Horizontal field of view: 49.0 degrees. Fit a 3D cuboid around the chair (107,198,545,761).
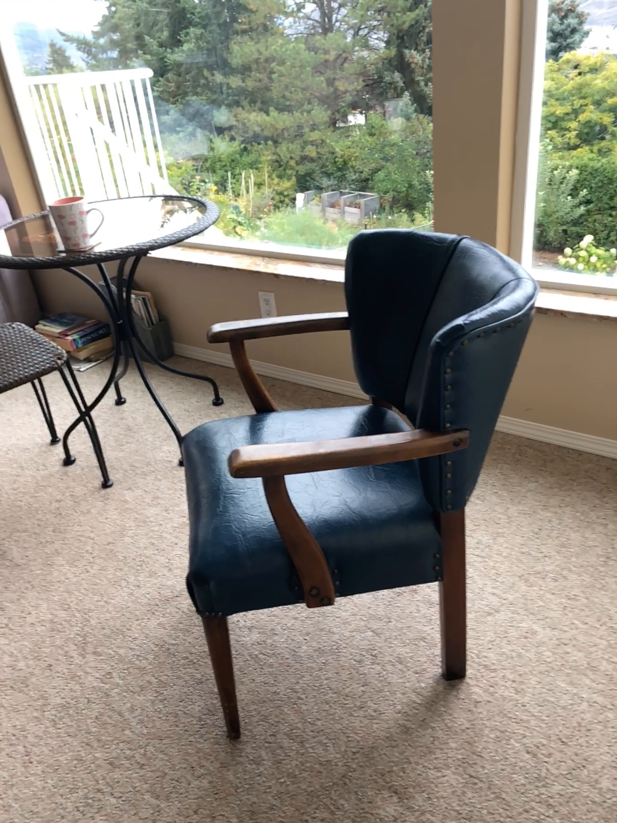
[{"bbox_3d":[0.024,0.101,1.268,0.560,0.797,0.532,-10,30,-6],"label":"chair"}]
